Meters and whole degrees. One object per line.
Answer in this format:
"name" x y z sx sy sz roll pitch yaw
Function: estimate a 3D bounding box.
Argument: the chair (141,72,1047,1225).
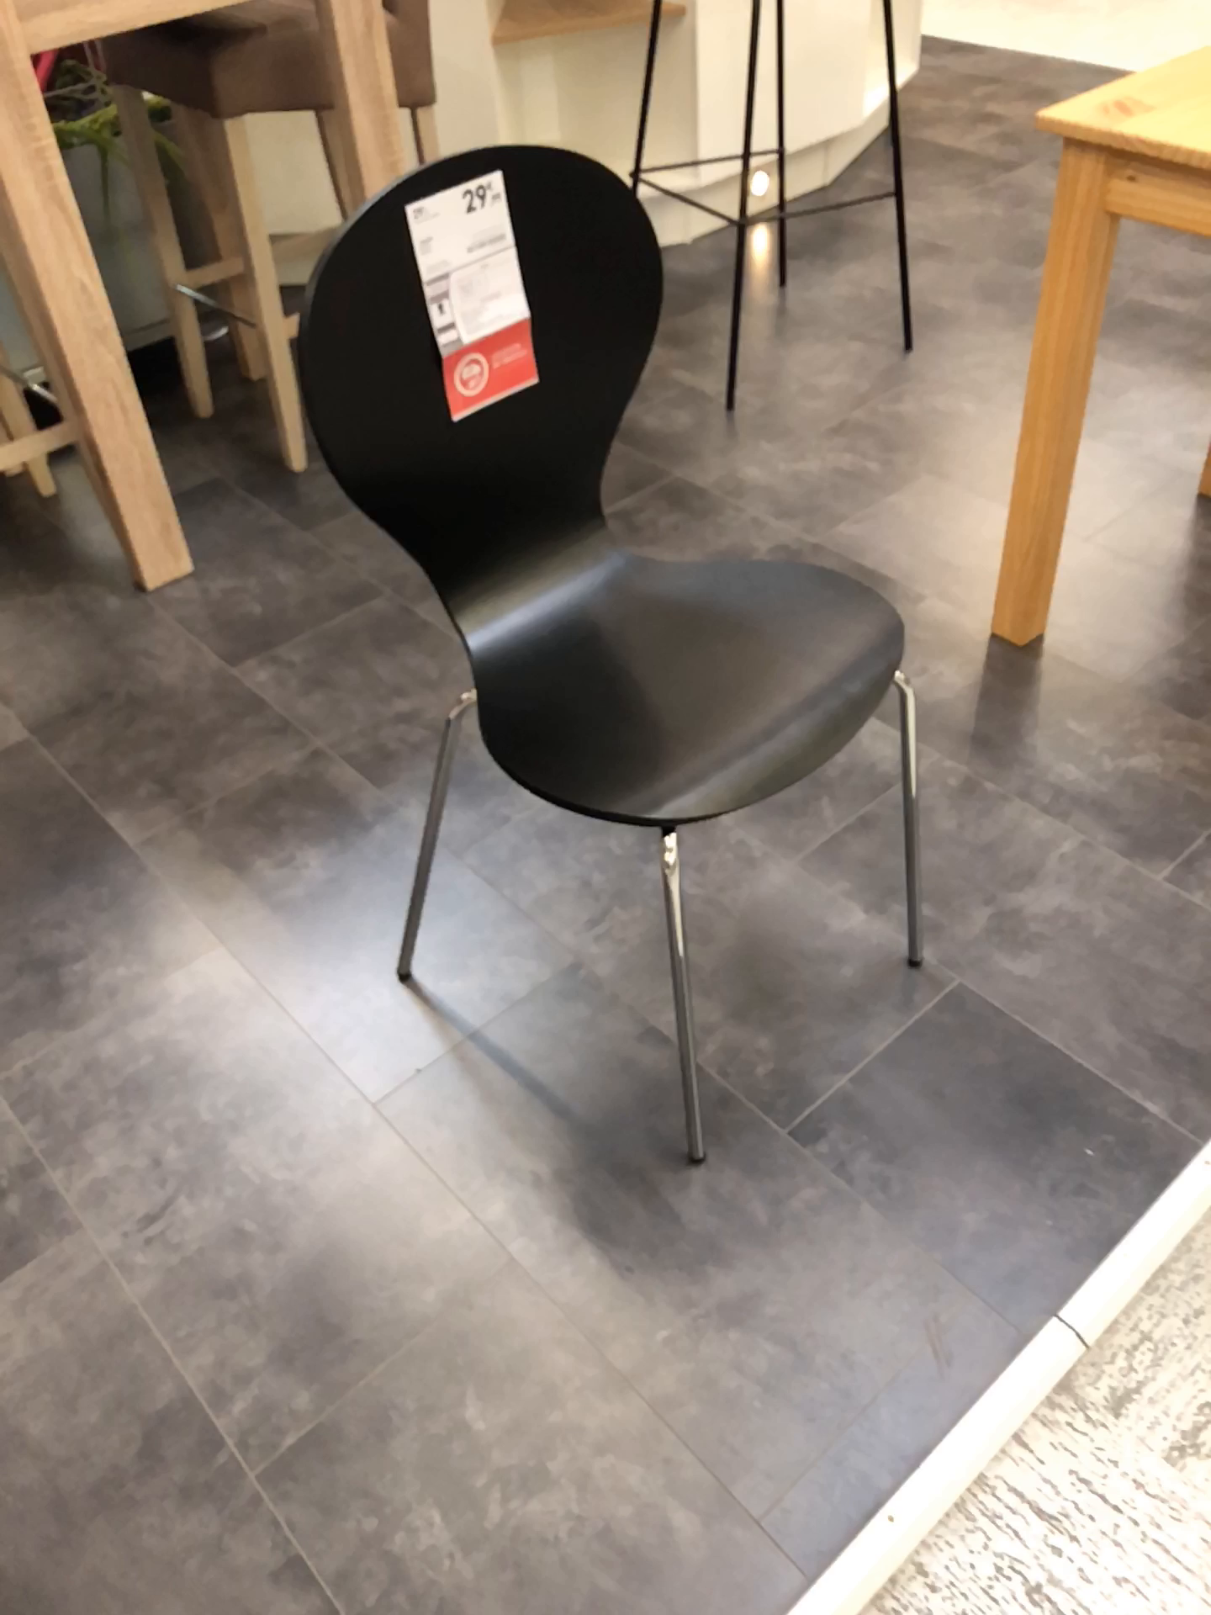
"chair" 0.011 -0.141 1.326 0.492 0.895 0.501 -34 49 -28
